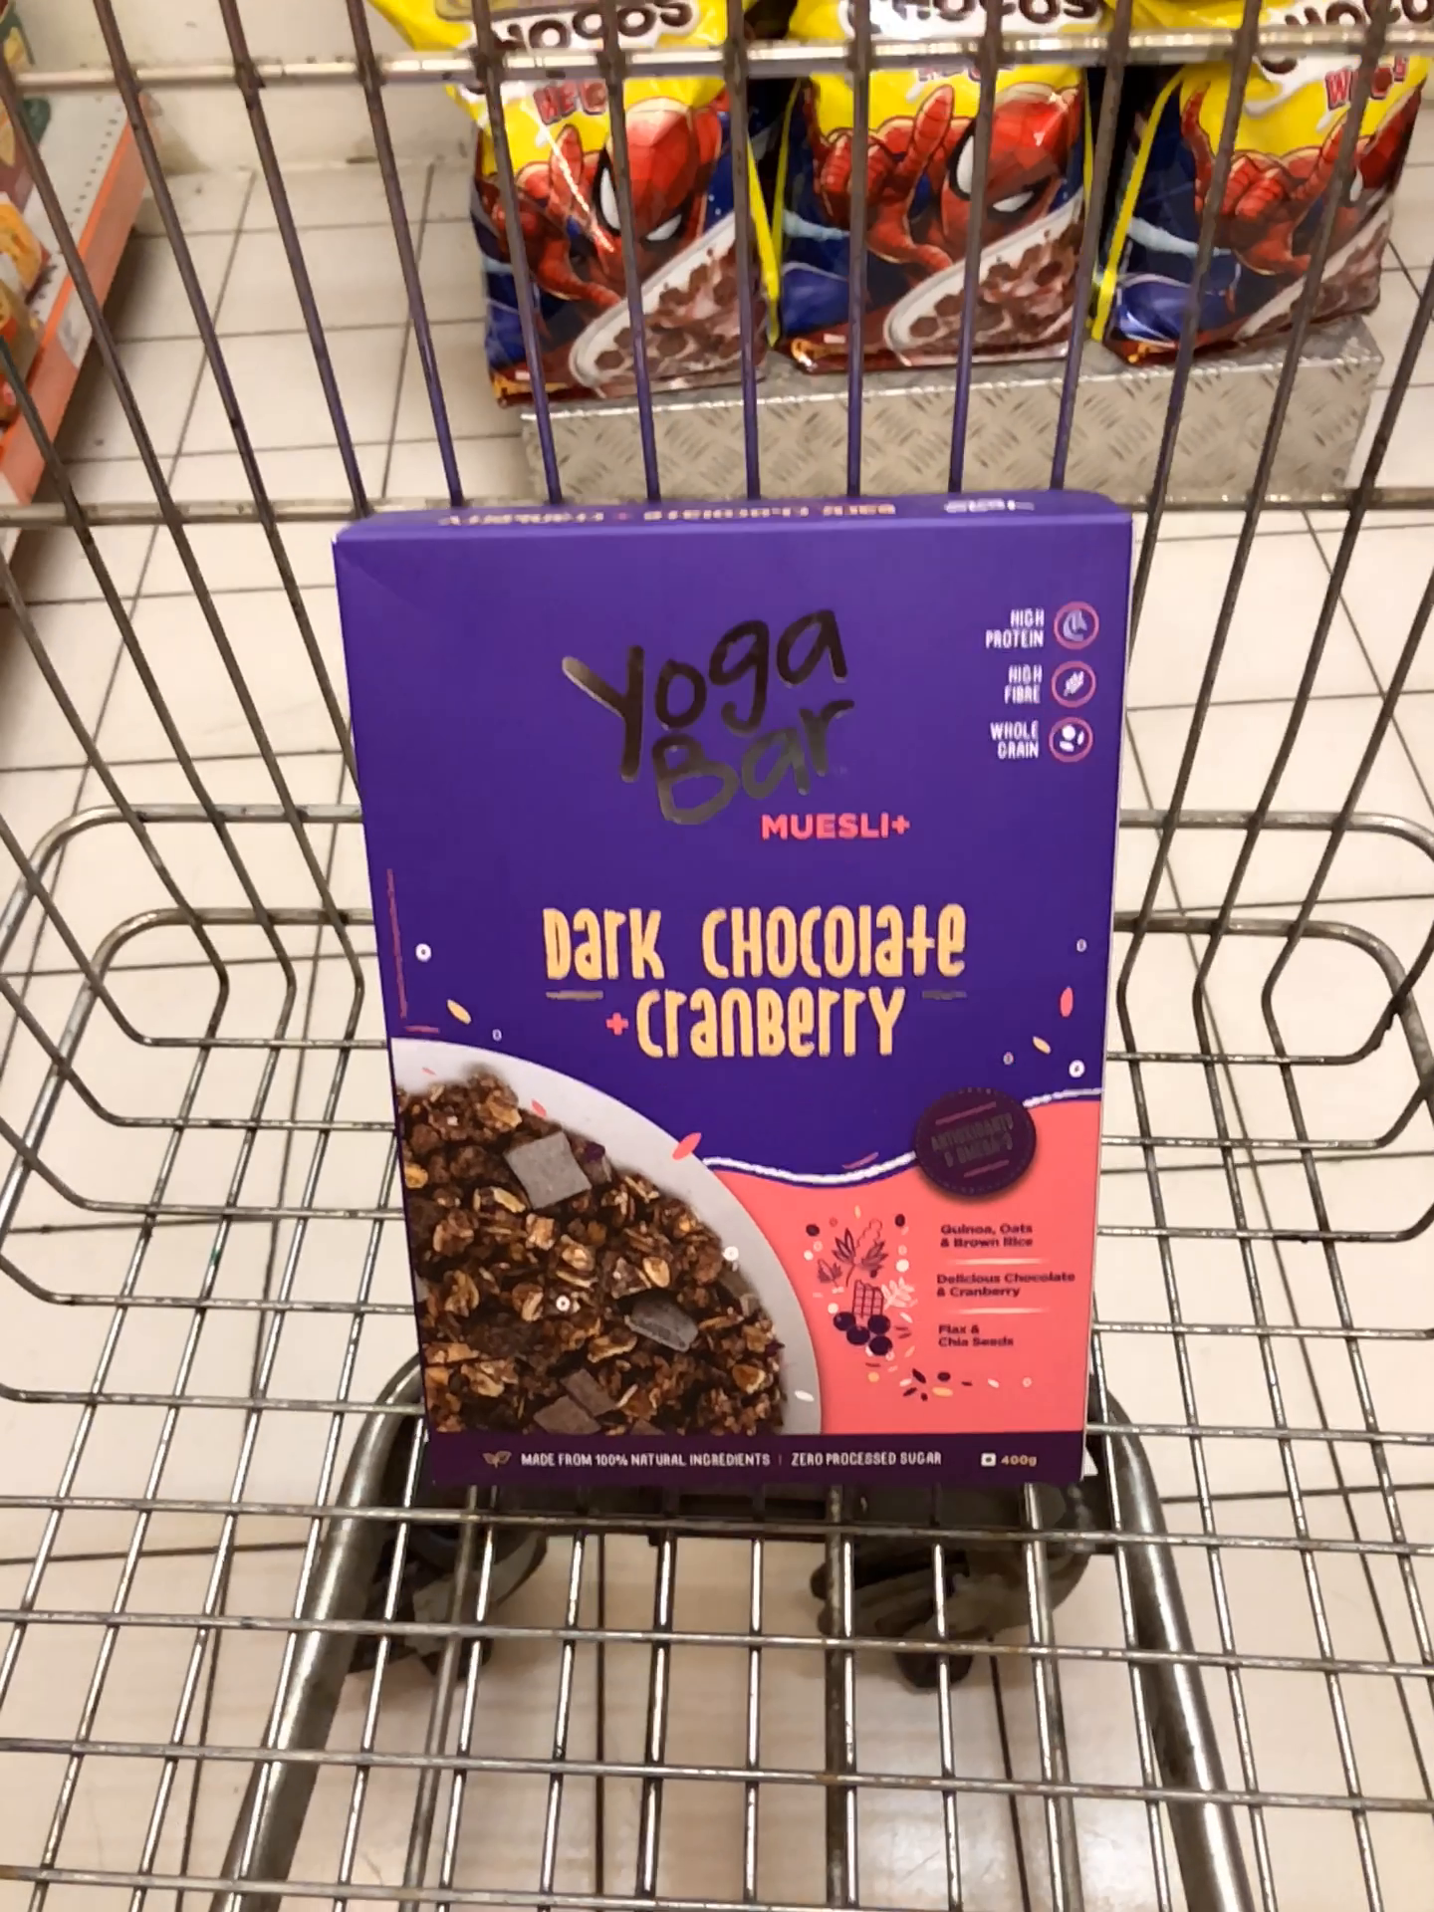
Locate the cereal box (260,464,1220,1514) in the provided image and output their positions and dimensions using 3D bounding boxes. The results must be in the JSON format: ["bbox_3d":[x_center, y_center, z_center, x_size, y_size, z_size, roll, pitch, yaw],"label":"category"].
[{"bbox_3d":[0.007,0.011,0.362,0.180,0.229,0.060,-1,18,3],"label":"cereal box"}]
